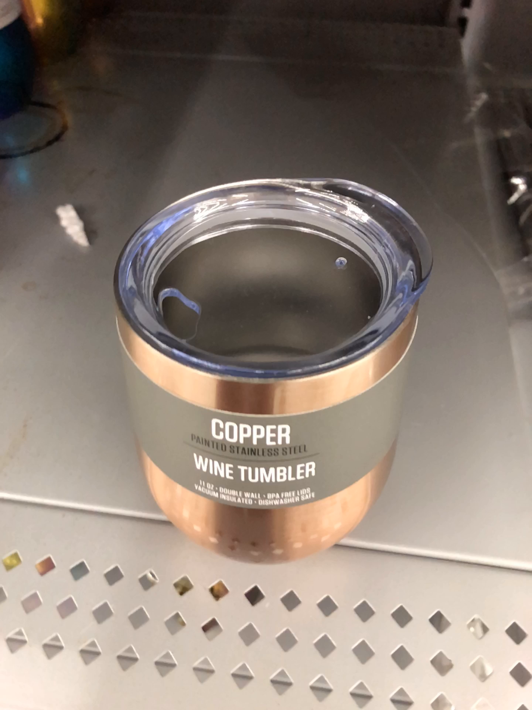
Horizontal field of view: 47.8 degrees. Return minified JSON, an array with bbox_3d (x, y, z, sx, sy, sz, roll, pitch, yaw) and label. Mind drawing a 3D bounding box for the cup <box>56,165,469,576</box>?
[{"bbox_3d":[0.001,0.013,0.196,0.088,0.121,0.068,3,50,3],"label":"cup"}]
